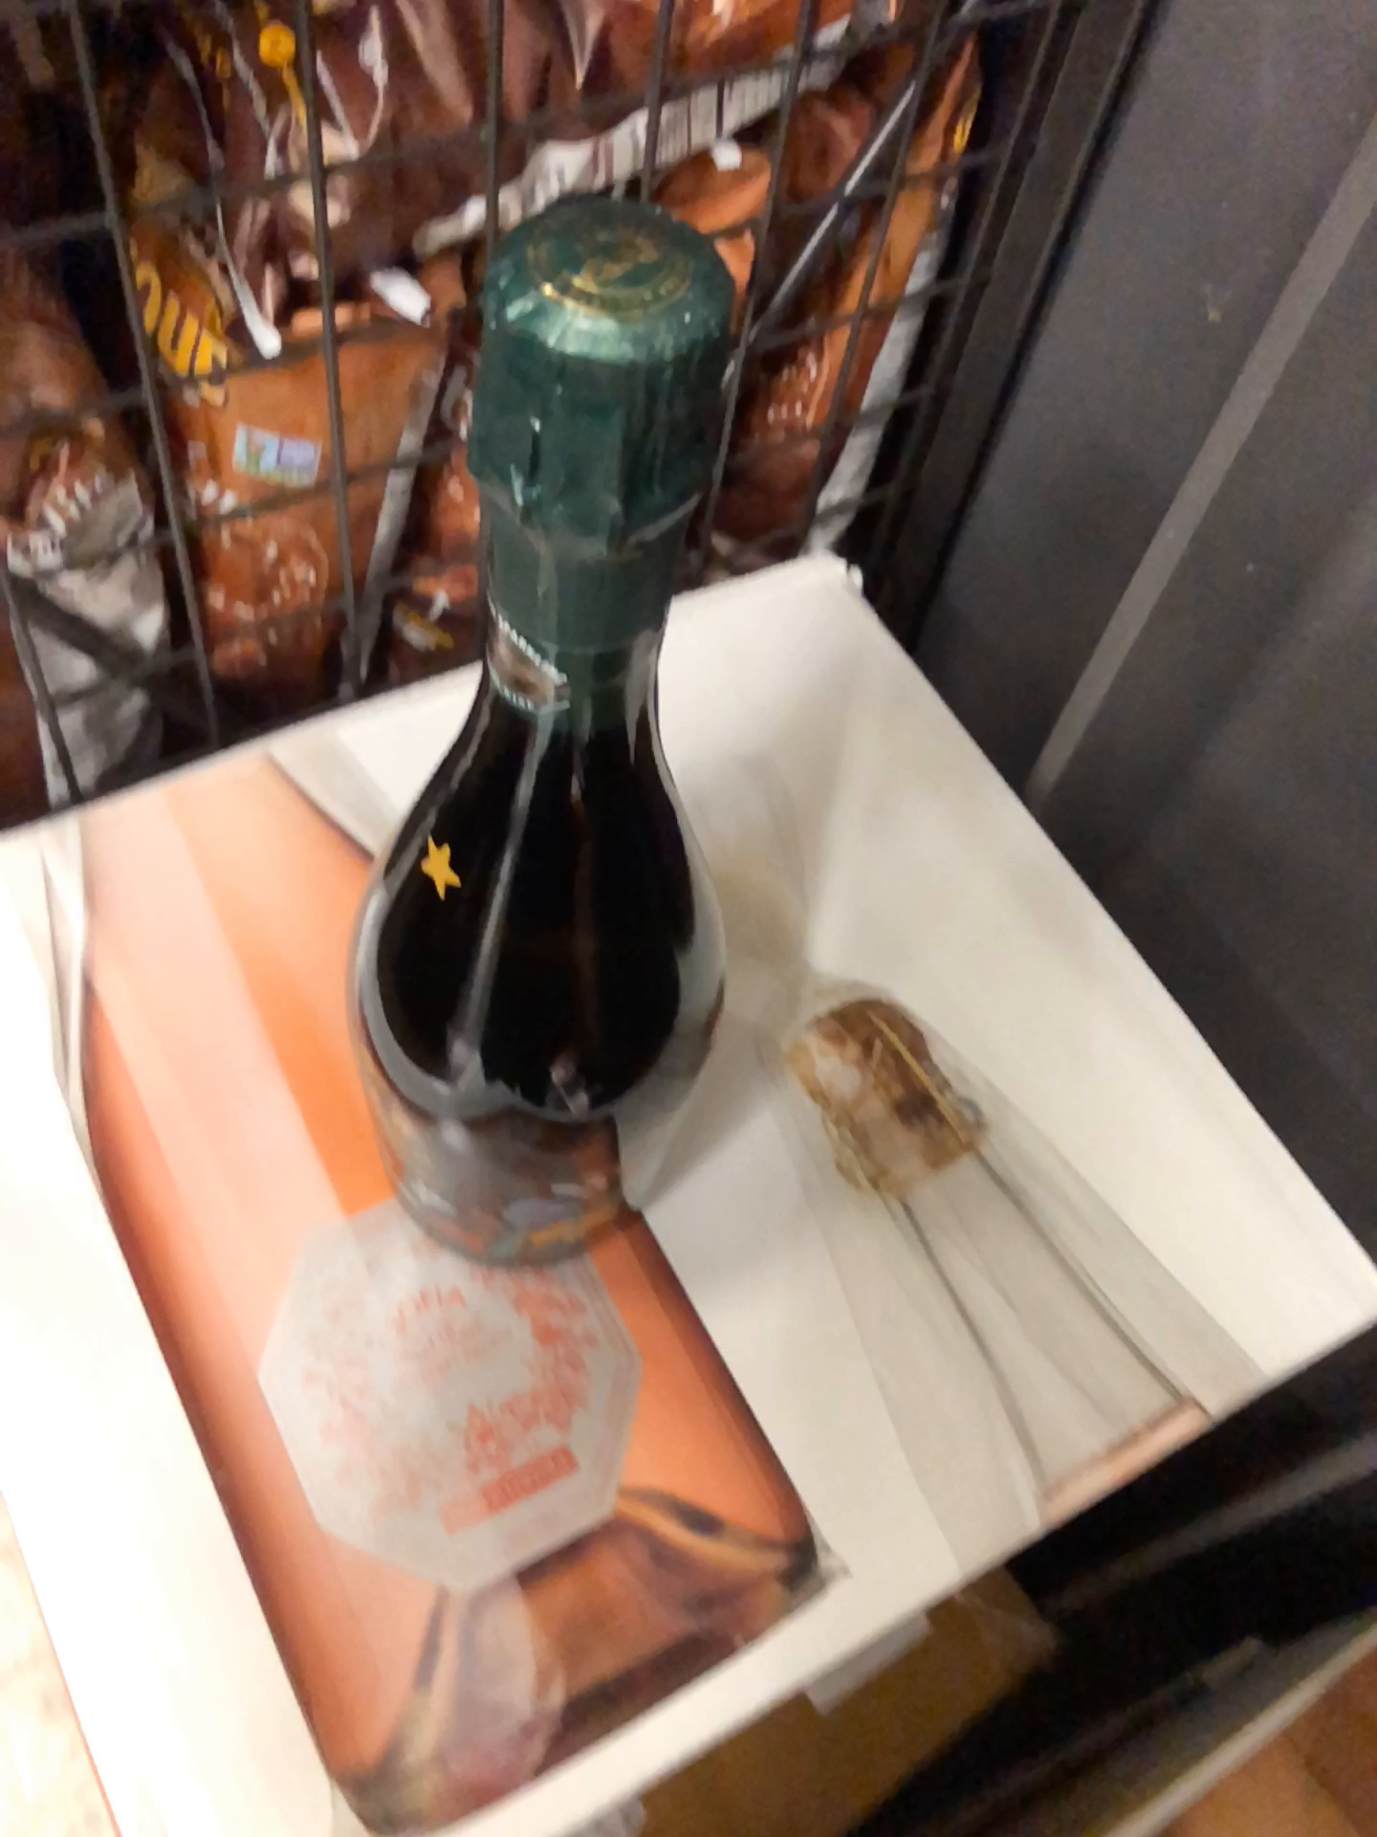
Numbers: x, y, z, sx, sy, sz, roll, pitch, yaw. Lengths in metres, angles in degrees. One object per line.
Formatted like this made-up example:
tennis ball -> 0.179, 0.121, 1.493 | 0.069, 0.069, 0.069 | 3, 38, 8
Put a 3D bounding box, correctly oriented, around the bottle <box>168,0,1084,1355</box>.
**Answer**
bottle -> -0.030, -0.012, 0.326 | 0.090, 0.299, 0.090 | 4, 57, -7
